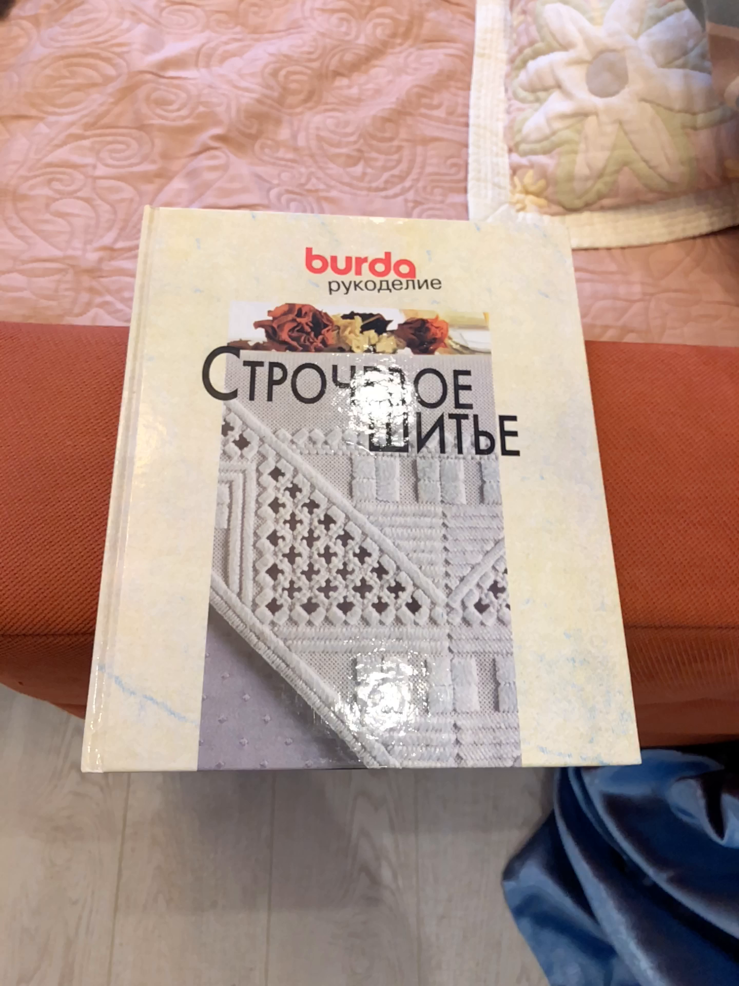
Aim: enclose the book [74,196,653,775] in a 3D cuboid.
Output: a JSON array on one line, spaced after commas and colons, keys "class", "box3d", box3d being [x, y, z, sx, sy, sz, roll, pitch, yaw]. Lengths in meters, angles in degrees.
[{"class": "book", "box3d": [-0.002, -0.014, 0.358, 0.215, 0.020, 0.259, 1, 69, -4]}]
